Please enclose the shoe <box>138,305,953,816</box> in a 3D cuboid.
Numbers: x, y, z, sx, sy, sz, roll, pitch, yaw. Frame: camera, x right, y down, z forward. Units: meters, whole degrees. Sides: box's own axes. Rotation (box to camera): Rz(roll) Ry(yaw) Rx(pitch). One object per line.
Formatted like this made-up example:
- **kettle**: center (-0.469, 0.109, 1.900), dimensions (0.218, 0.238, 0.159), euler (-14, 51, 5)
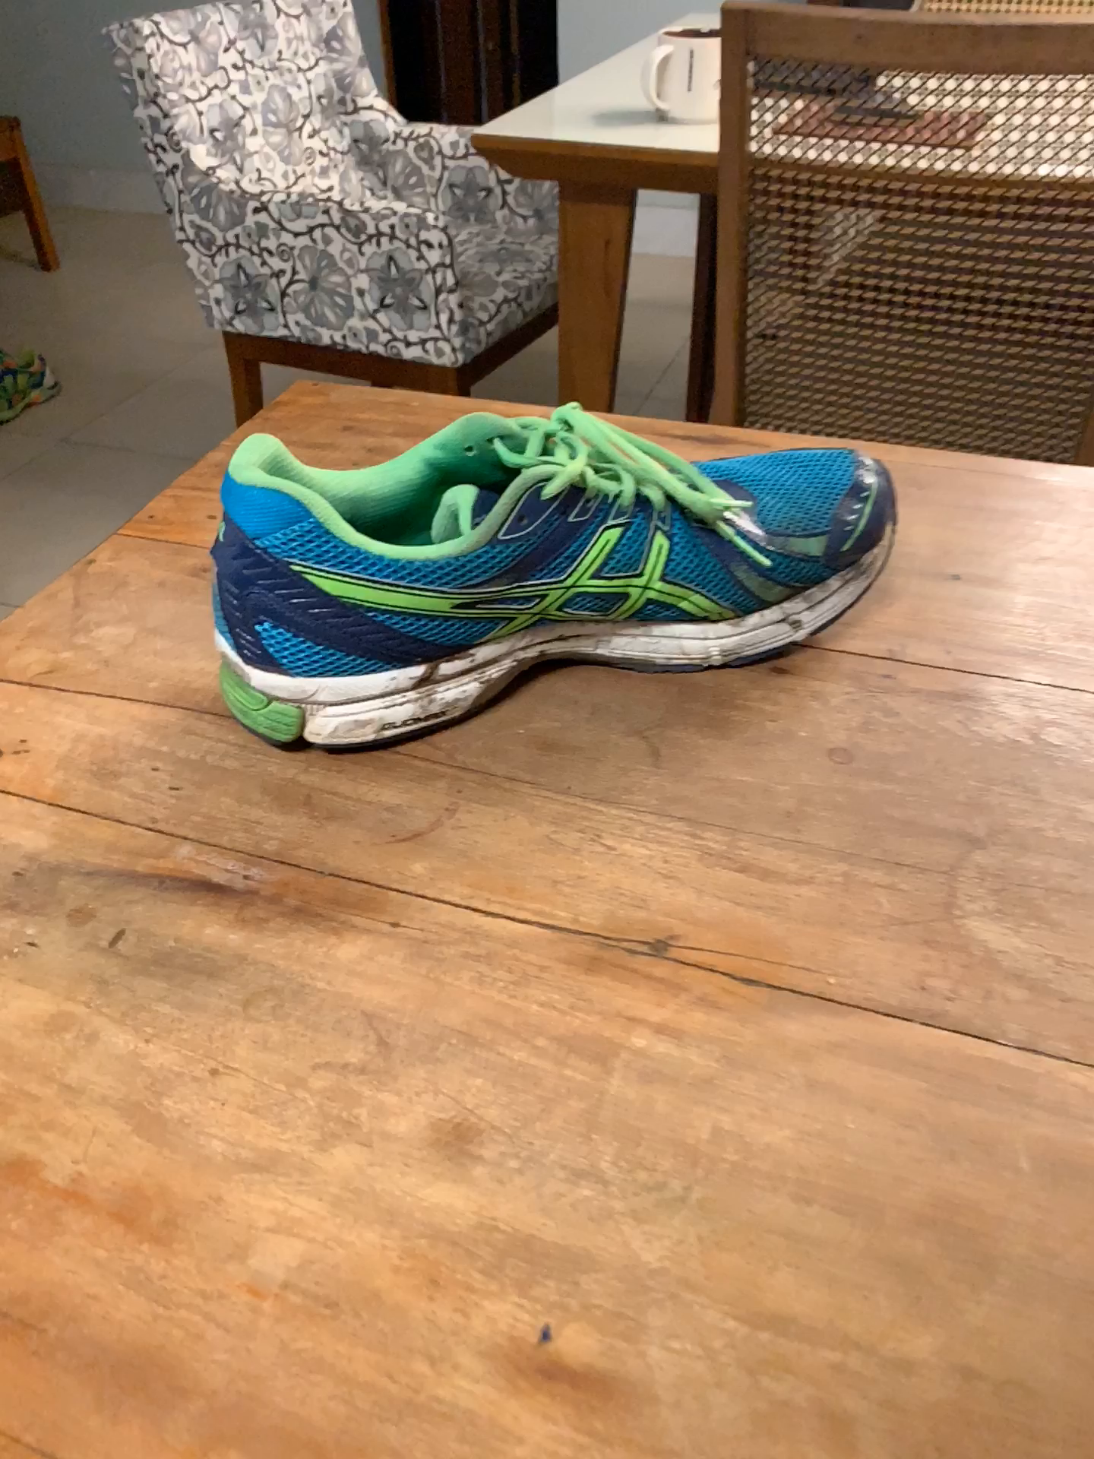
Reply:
- **shoe**: center (0.000, -0.081, 0.479), dimensions (0.300, 0.119, 0.111), euler (-14, 41, -14)
